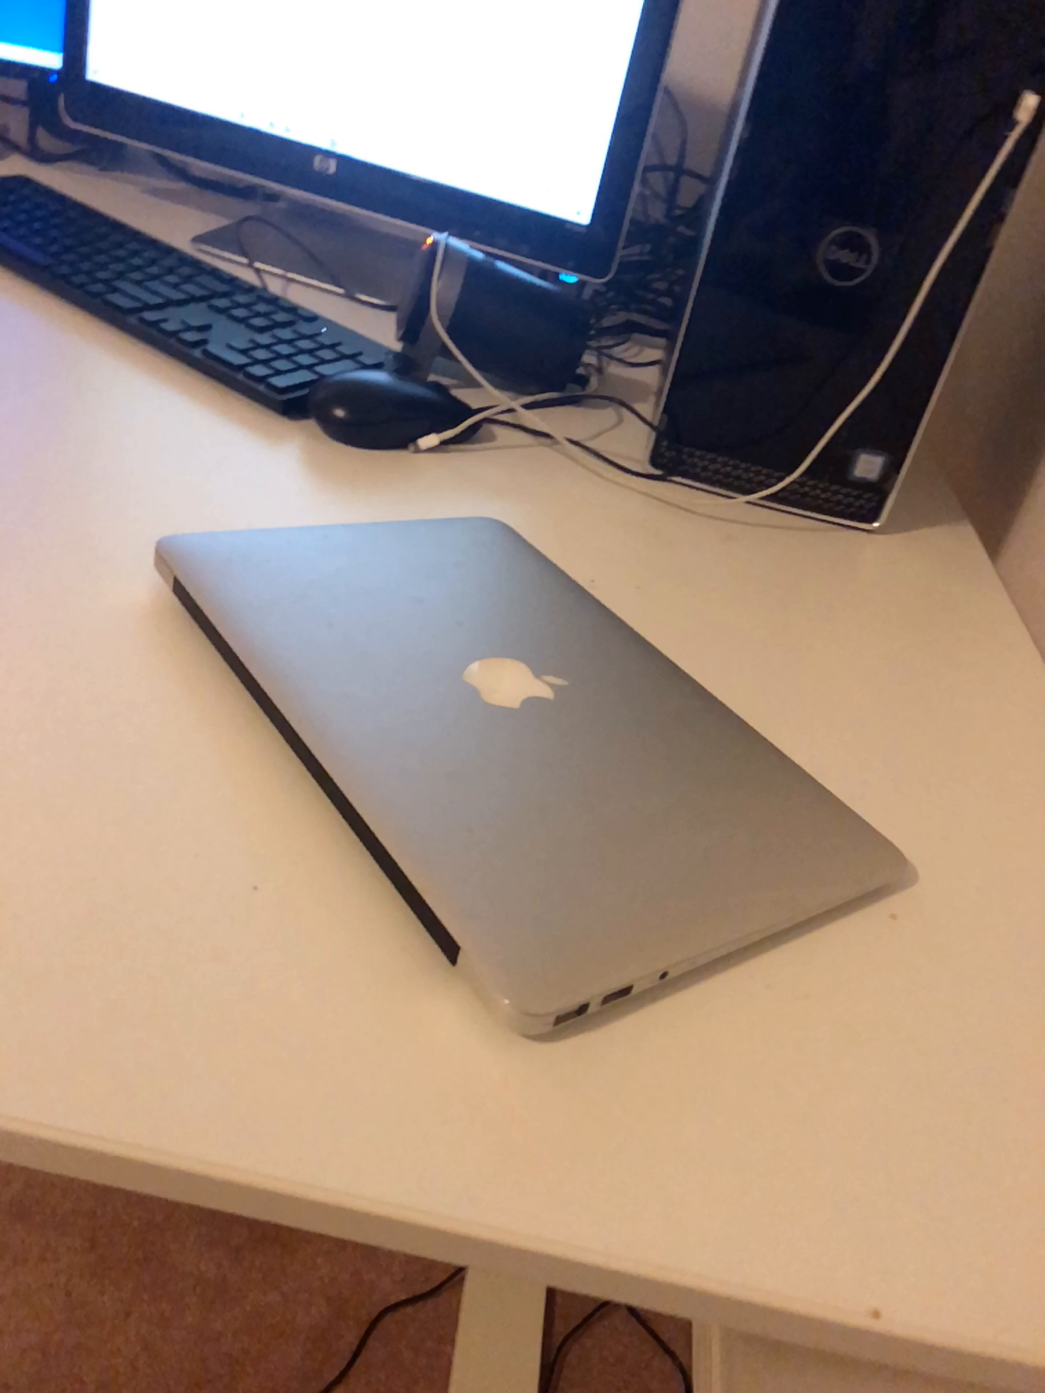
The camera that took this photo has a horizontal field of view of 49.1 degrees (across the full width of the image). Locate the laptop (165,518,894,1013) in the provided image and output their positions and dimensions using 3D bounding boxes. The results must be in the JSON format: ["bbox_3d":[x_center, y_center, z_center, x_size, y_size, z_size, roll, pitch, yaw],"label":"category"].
[{"bbox_3d":[-0.010,-0.001,0.482,0.178,0.004,0.291,-11,41,-35],"label":"laptop"}]
